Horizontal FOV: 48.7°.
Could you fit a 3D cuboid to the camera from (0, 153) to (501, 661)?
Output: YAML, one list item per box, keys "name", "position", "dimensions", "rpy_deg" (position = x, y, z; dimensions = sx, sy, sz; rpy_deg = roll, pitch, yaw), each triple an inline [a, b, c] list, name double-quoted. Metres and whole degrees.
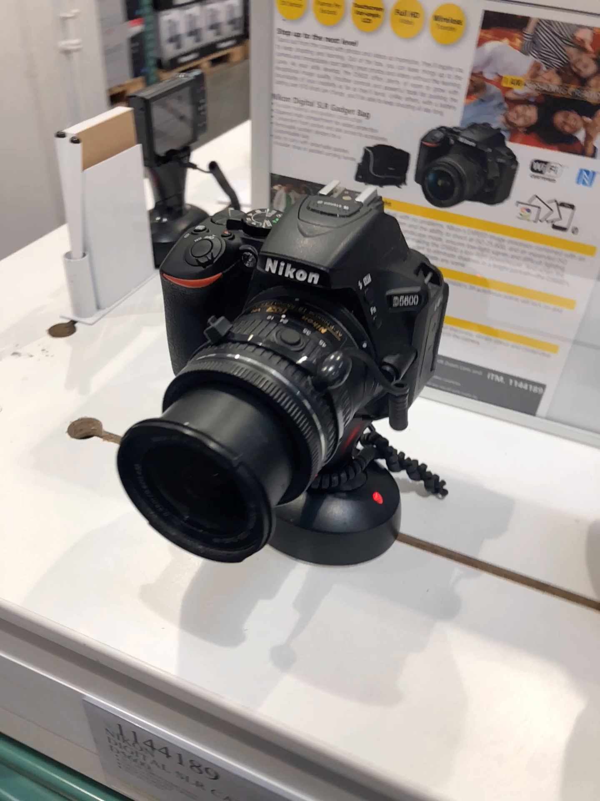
- name: "camera"
  position: [-0.016, -0.016, 0.273]
  dimensions: [0.140, 0.099, 0.161]
  rpy_deg: [19, 41, 18]
